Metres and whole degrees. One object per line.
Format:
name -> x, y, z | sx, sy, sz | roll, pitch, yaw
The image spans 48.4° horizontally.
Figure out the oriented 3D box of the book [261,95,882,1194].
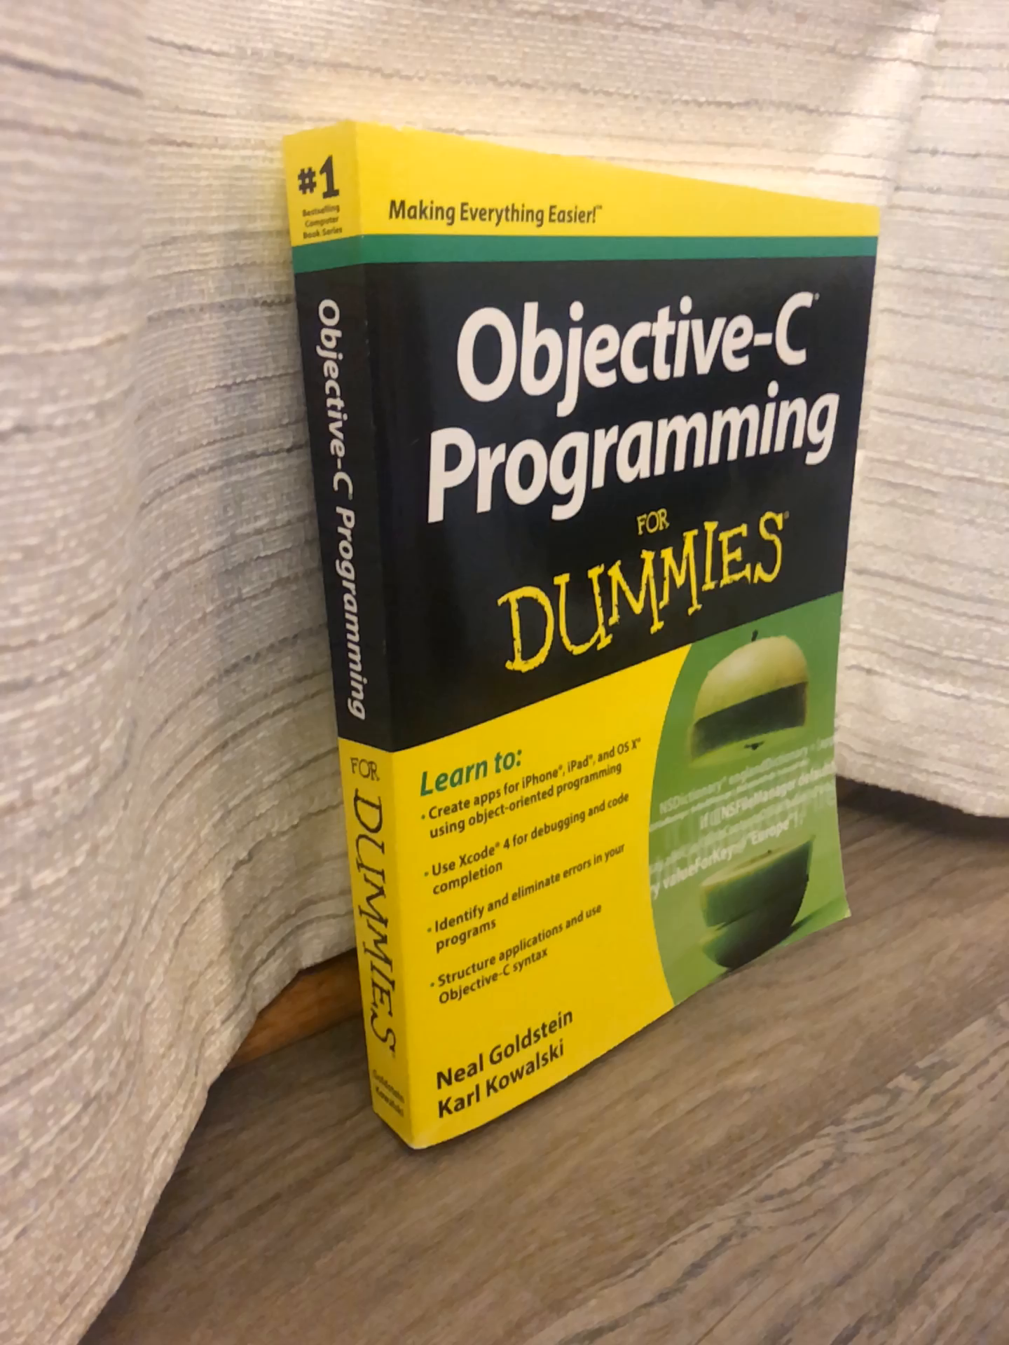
book -> 0.035, -0.014, 0.301 | 0.184, 0.230, 0.033 | -14, 17, -40
